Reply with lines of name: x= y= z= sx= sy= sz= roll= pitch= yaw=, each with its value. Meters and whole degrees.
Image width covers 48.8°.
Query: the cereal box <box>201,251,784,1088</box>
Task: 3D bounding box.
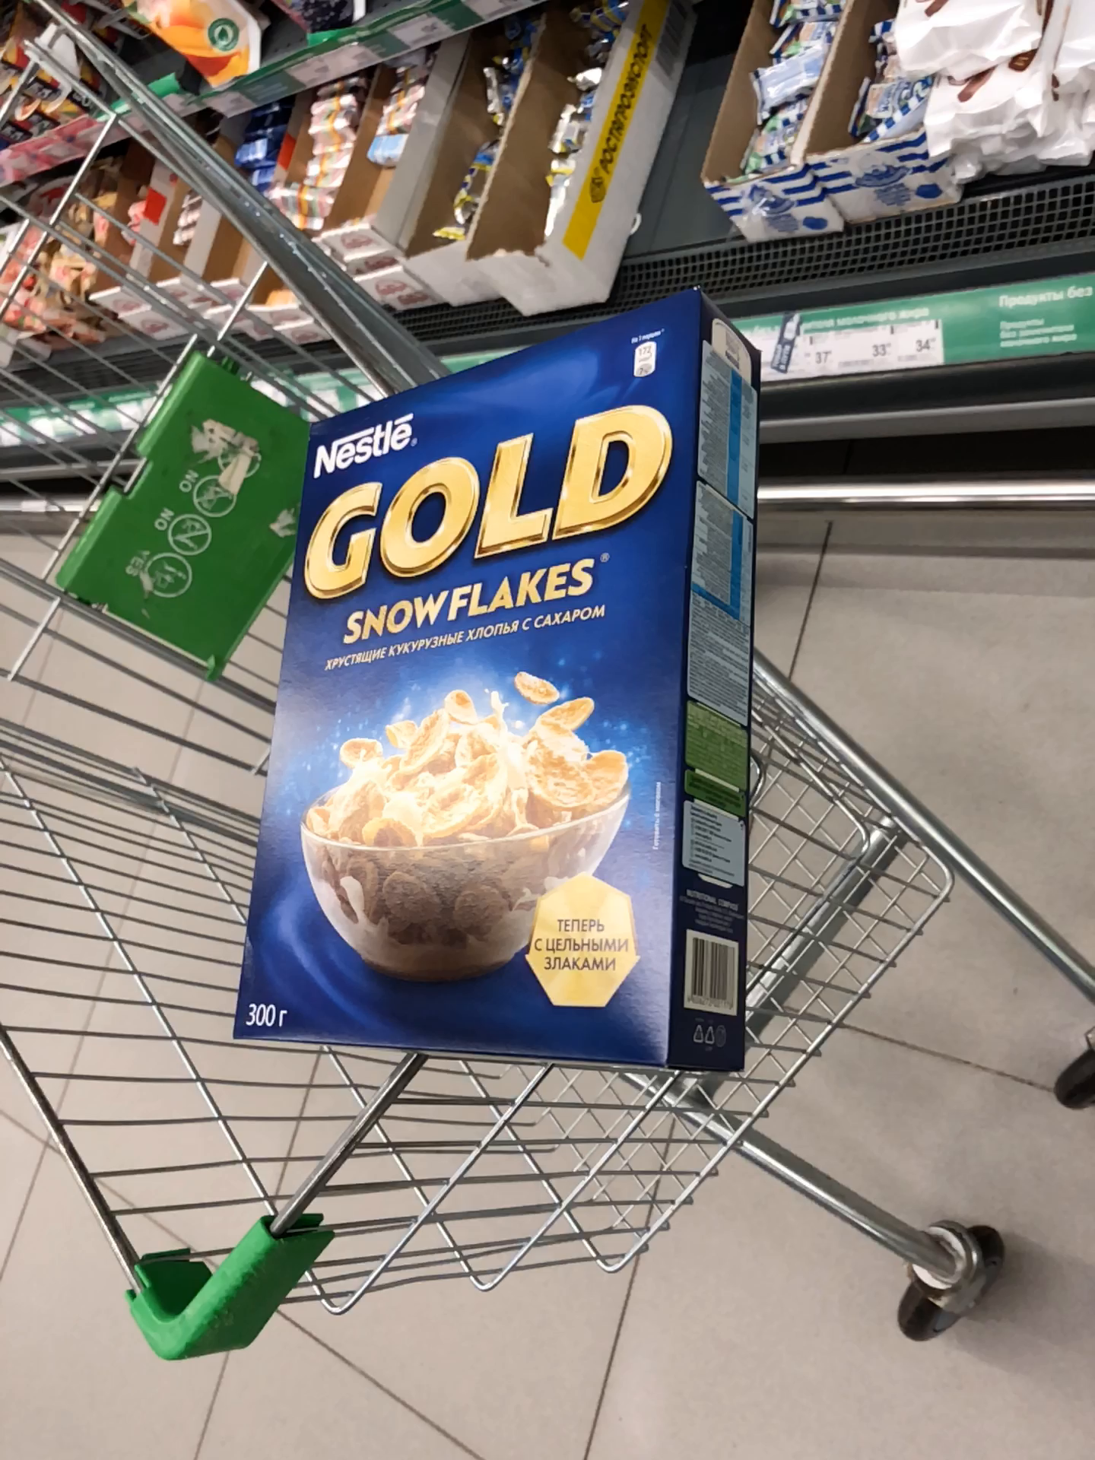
cereal box: x=-0.019 y=-0.016 z=0.443 sx=0.201 sy=0.050 sz=0.270 roll=-7 pitch=70 yaw=33
